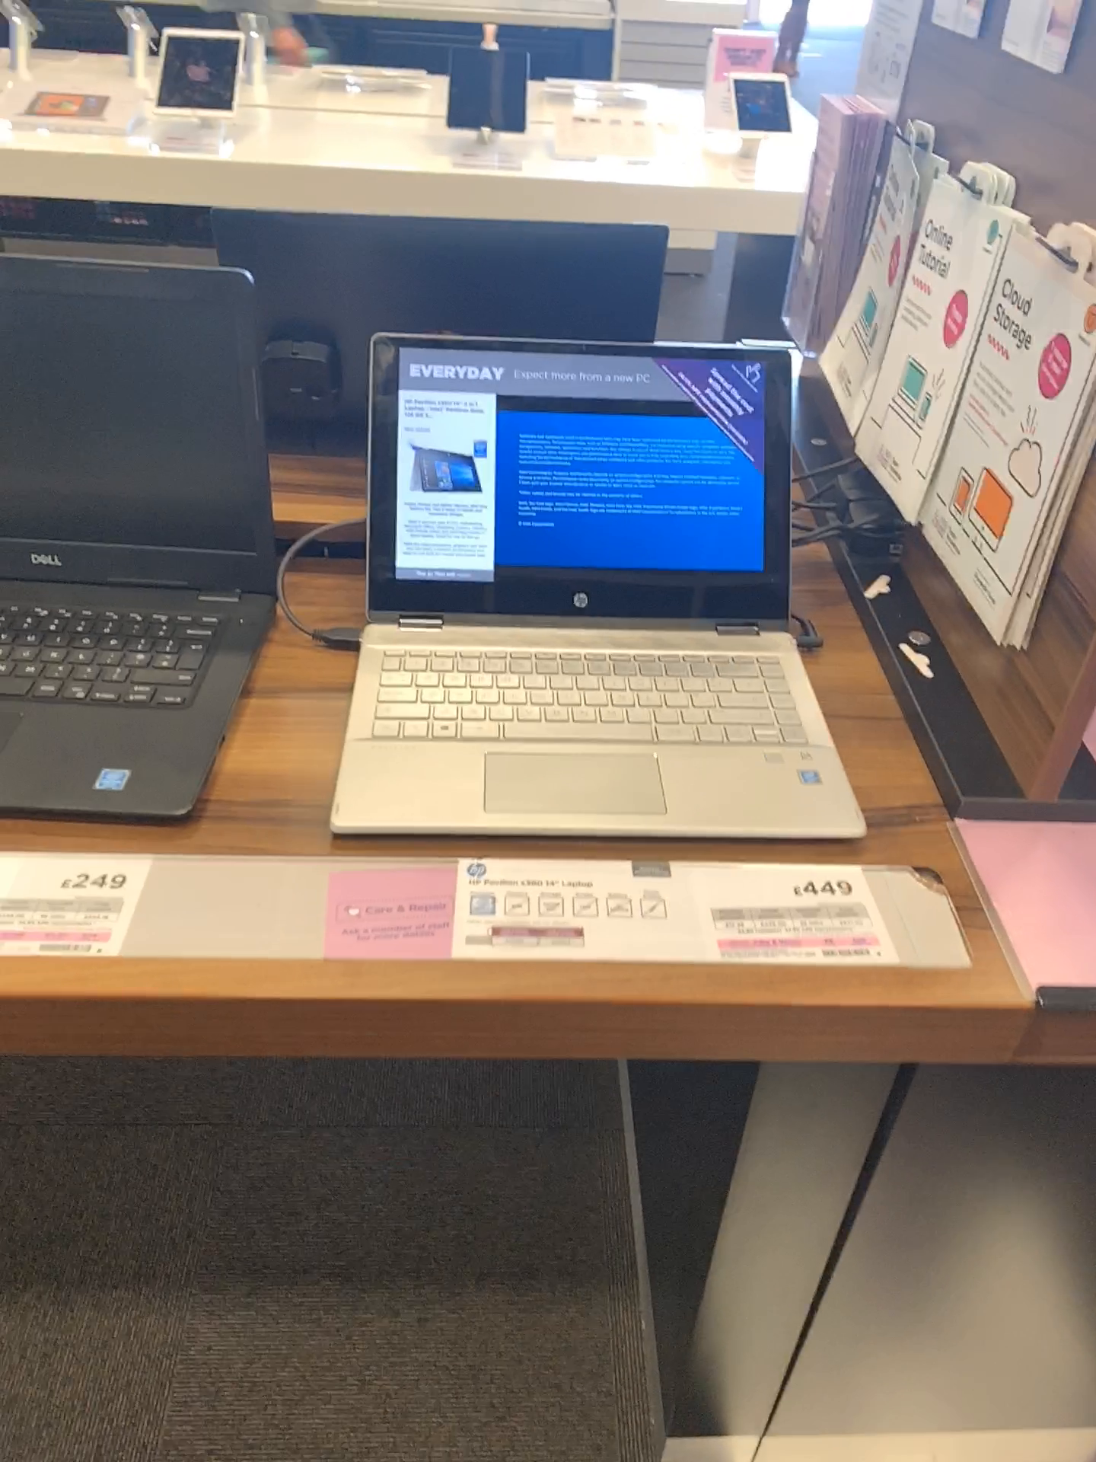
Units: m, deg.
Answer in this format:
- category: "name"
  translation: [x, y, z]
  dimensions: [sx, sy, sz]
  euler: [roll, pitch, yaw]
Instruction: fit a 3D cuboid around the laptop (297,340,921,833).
- category: "laptop"
  translation: [0.020, -0.115, 0.747]
  dimensions: [0.313, 0.154, 0.364]
  euler: [1, 38, -4]
